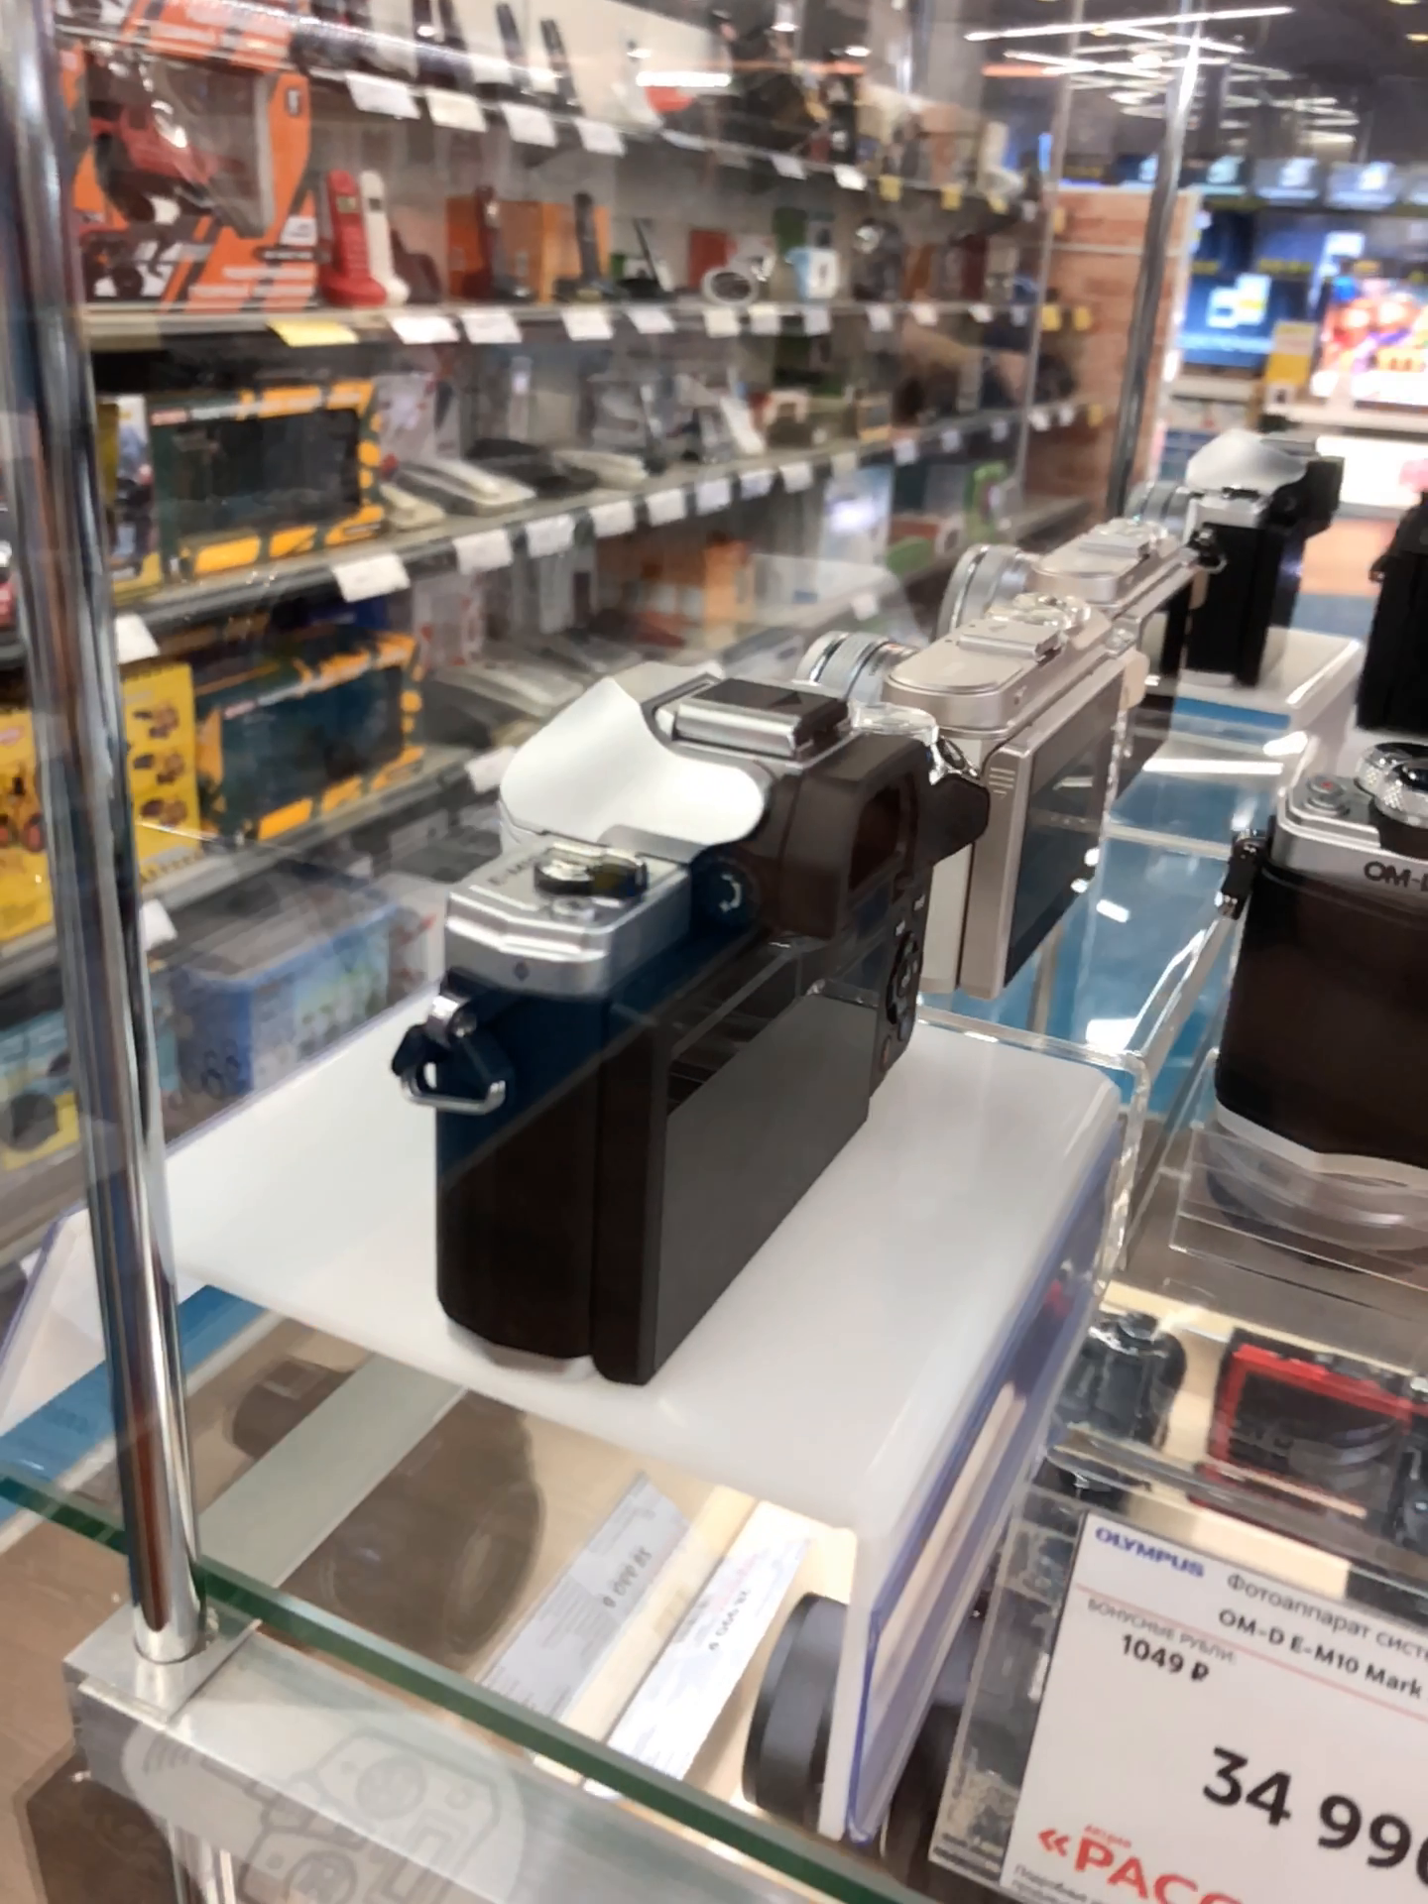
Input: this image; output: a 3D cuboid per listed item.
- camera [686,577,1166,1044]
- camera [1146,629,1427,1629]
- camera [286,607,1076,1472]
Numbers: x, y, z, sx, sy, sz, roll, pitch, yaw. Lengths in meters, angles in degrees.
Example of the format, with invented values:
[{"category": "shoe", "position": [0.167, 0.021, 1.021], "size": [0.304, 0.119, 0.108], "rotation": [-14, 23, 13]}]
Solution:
[{"category": "camera", "position": [0.054, -0.041, 0.375], "size": [0.068, 0.068, 0.125], "rotation": [14, 26, 24]}, {"category": "camera", "position": [0.149, 0.011, 0.239], "size": [0.136, 0.084, 0.102], "rotation": [12, 25, 20]}, {"category": "camera", "position": [0.003, 0.000, 0.240], "size": [0.064, 0.077, 0.122], "rotation": [13, 25, 22]}]
